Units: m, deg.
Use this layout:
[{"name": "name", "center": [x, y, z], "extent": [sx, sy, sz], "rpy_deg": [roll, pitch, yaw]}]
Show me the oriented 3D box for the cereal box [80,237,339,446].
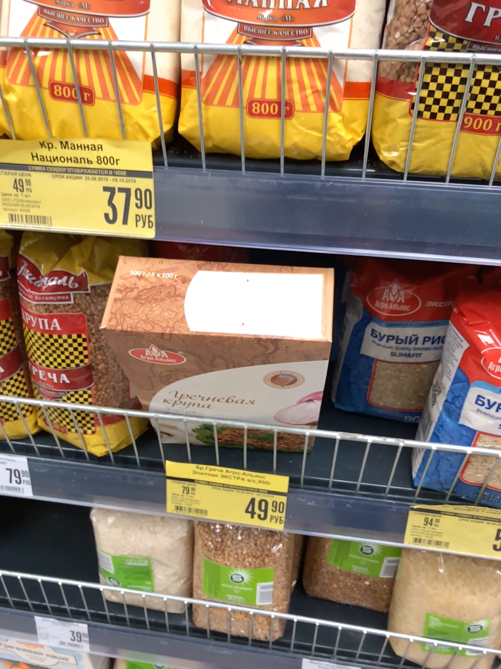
[{"name": "cereal box", "center": [-0.017, 0.018, 0.398], "extent": [0.140, 0.199, 0.050], "rpy_deg": [3, 60, 5]}]
